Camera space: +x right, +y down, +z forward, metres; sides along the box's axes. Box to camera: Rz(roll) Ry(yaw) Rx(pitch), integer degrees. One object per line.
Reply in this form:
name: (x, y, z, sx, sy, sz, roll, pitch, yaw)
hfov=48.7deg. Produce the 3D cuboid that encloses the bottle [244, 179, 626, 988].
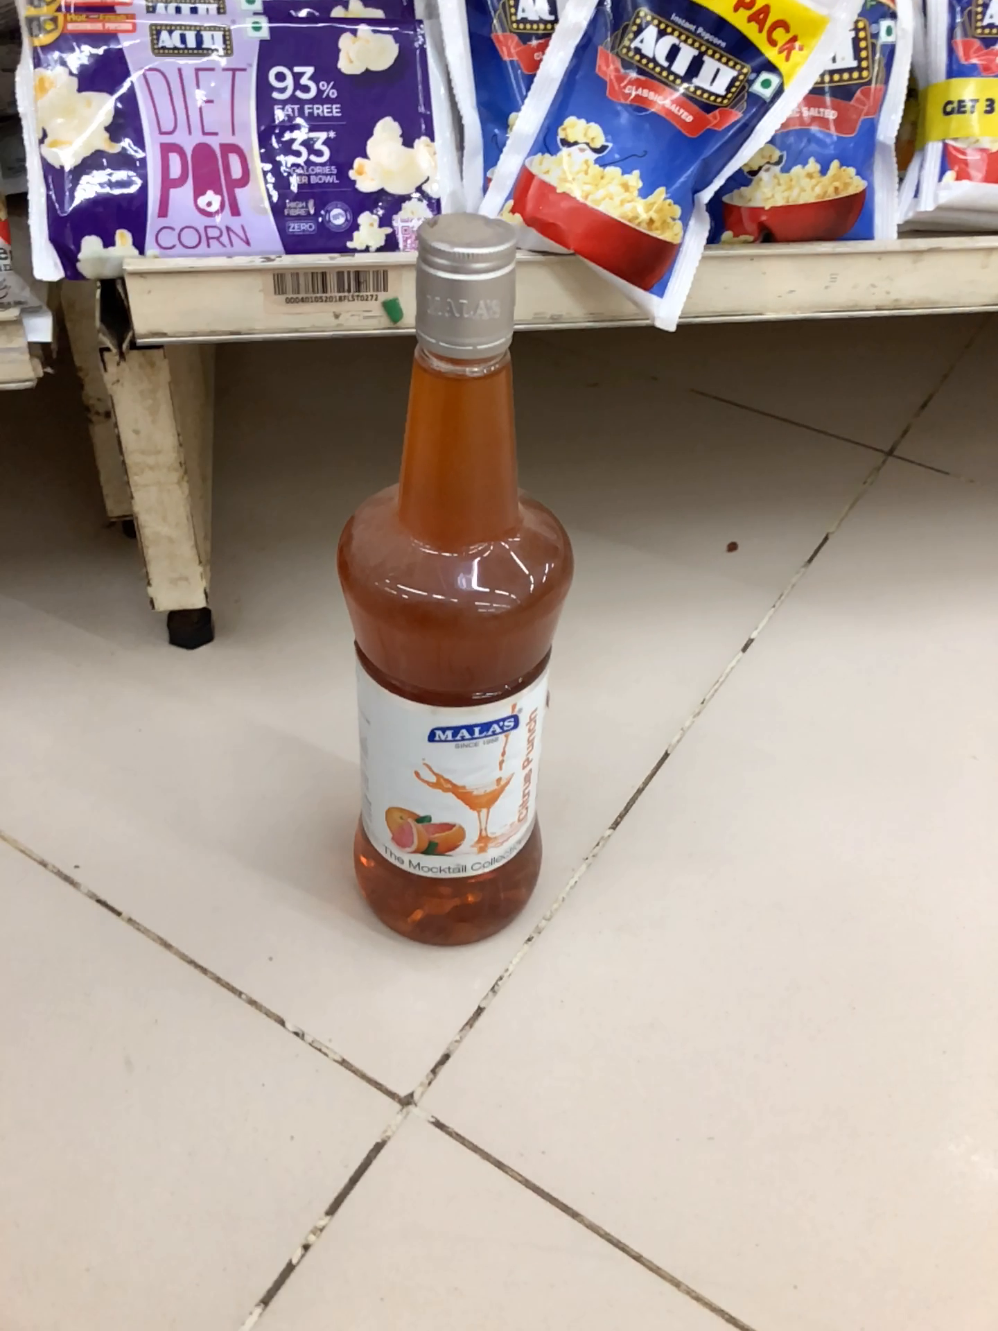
bottle: (-0.026, -0.010, 0.400, 0.090, 0.288, 0.091, 1, 42, -1)
